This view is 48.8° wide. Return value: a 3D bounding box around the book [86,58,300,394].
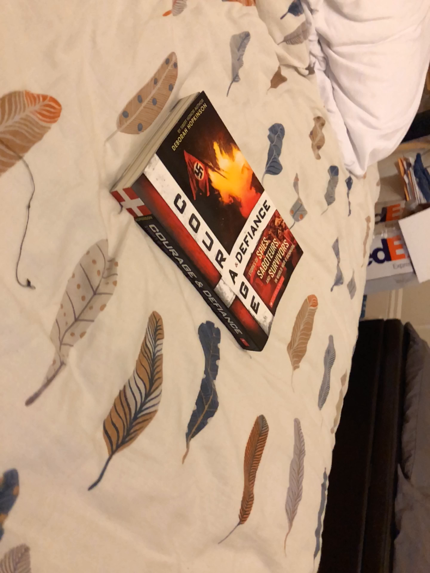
[{"bbox_3d":[0.008,-0.049,0.429,0.230,0.020,0.201,51,42,-37],"label":"book"}]
